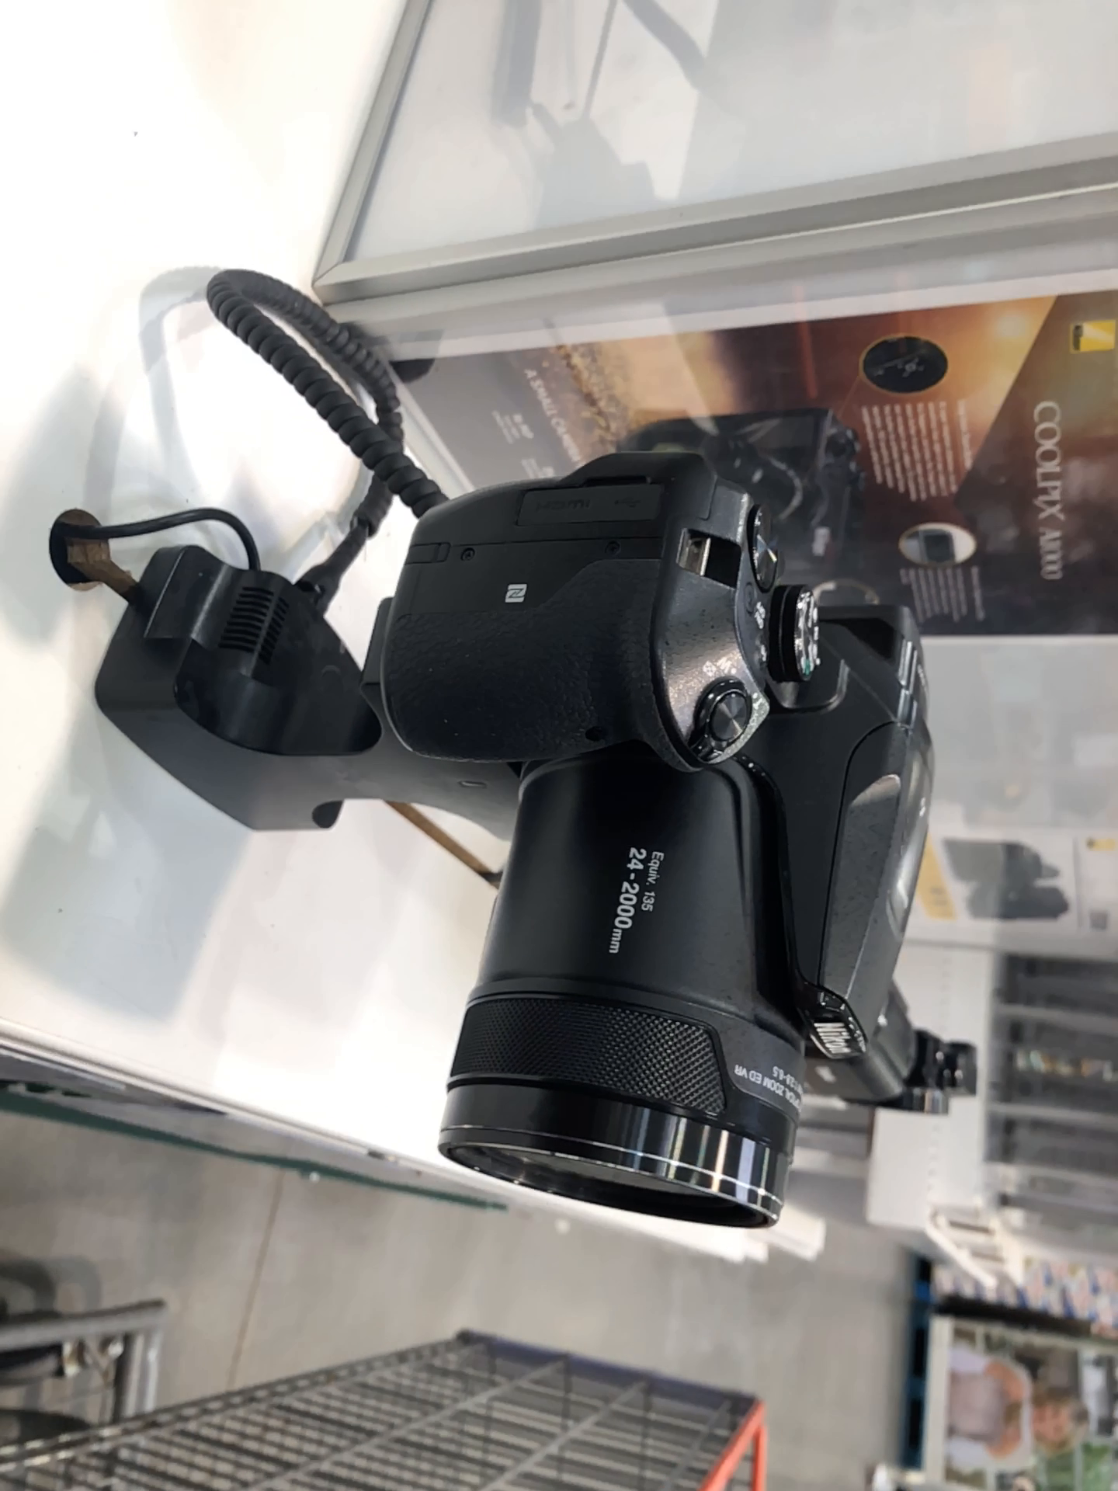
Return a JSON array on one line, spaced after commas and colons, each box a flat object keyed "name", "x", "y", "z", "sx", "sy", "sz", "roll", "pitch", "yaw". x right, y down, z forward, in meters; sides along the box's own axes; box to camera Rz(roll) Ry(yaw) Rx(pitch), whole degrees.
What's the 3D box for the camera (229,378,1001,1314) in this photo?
[{"name": "camera", "x": 0.034, "y": 0.029, "z": 0.280, "sx": 0.141, "sy": 0.109, "sz": 0.150, "roll": 54, "pitch": 43, "yaw": -54}]
